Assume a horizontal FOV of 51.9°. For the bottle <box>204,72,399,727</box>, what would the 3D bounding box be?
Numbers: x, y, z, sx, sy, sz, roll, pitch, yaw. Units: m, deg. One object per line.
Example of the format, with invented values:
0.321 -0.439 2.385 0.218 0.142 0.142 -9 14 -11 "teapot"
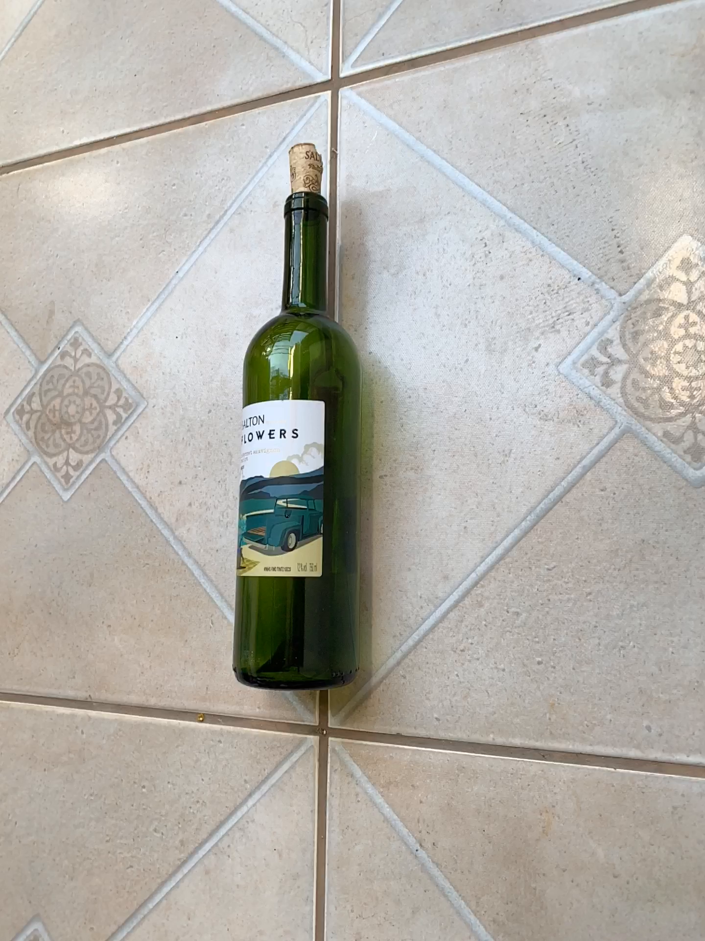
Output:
-0.027 -0.040 0.434 0.080 0.080 0.350 -4 82 30 "bottle"
